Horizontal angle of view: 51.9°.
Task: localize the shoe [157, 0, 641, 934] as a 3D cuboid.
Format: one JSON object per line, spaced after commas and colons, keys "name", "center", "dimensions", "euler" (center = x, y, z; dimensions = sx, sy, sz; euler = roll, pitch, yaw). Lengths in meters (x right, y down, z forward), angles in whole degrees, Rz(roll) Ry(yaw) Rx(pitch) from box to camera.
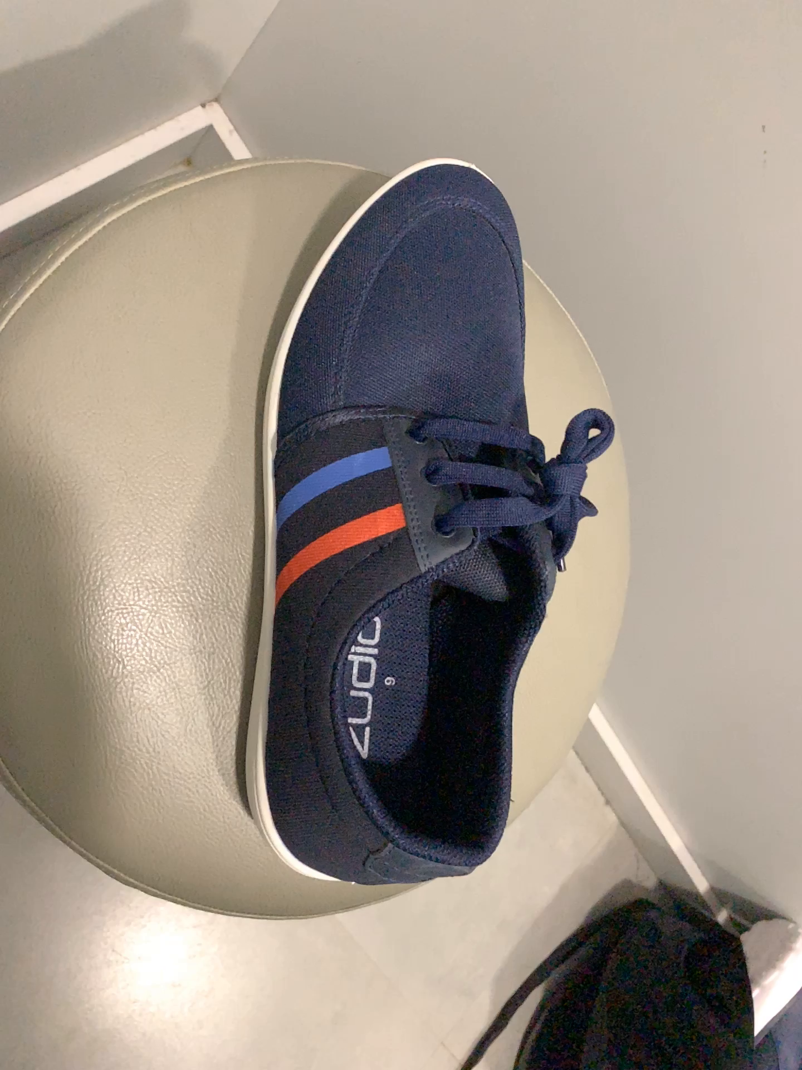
{"name": "shoe", "center": [-0.002, -0.025, 0.305], "dimensions": [0.100, 0.100, 0.290], "euler": [12, 84, -29]}
